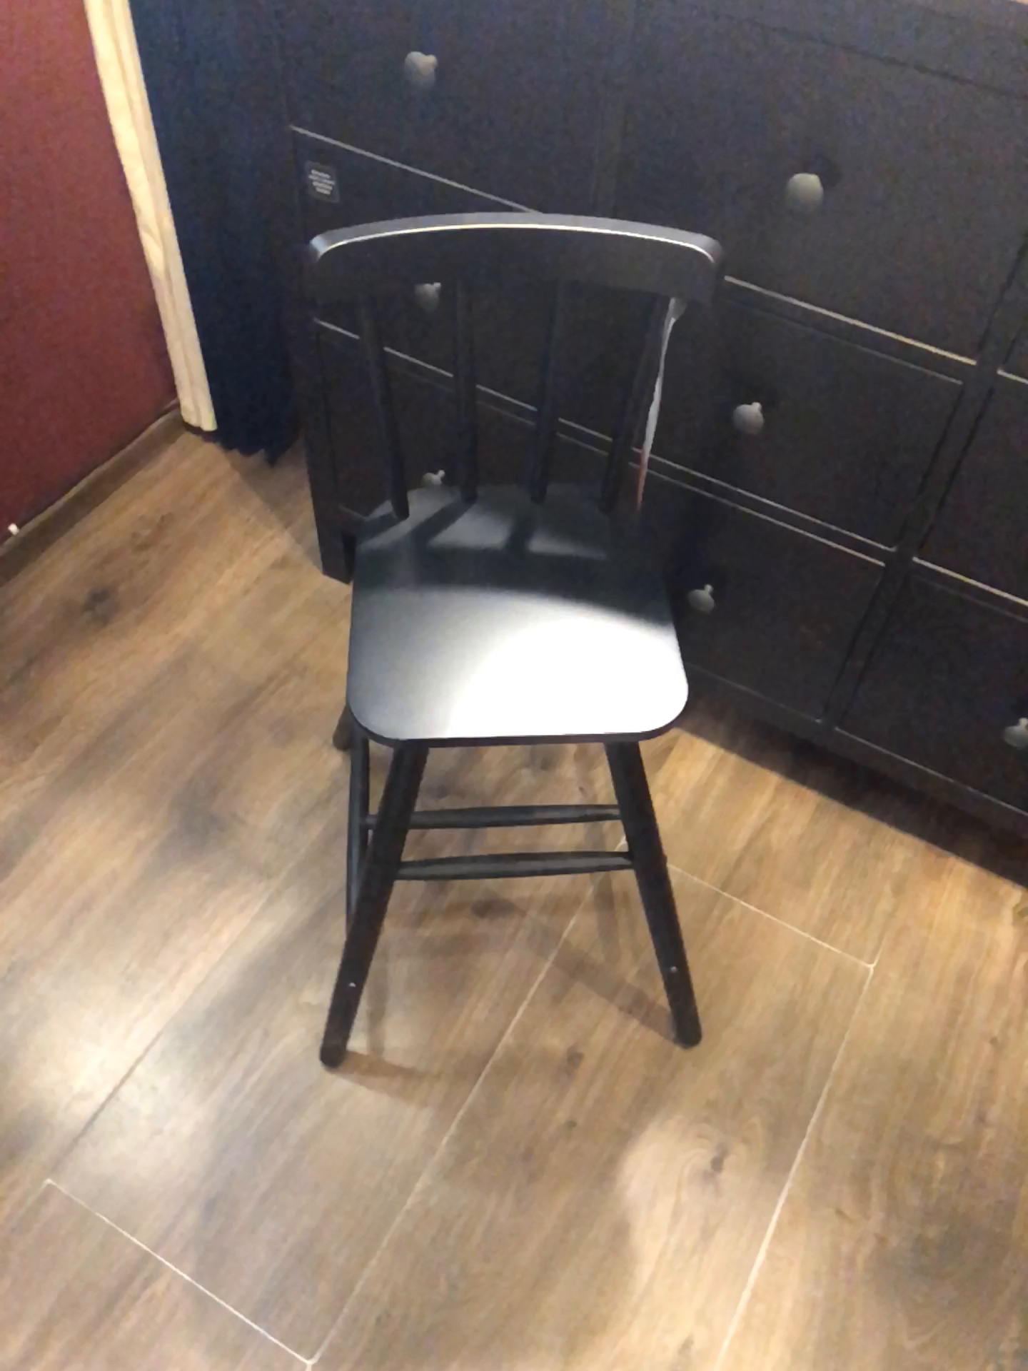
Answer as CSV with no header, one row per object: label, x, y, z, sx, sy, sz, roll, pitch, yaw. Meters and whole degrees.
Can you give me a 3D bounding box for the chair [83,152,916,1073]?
chair,-0.032,-0.017,1.033,0.450,0.716,0.473,-2,53,-4
